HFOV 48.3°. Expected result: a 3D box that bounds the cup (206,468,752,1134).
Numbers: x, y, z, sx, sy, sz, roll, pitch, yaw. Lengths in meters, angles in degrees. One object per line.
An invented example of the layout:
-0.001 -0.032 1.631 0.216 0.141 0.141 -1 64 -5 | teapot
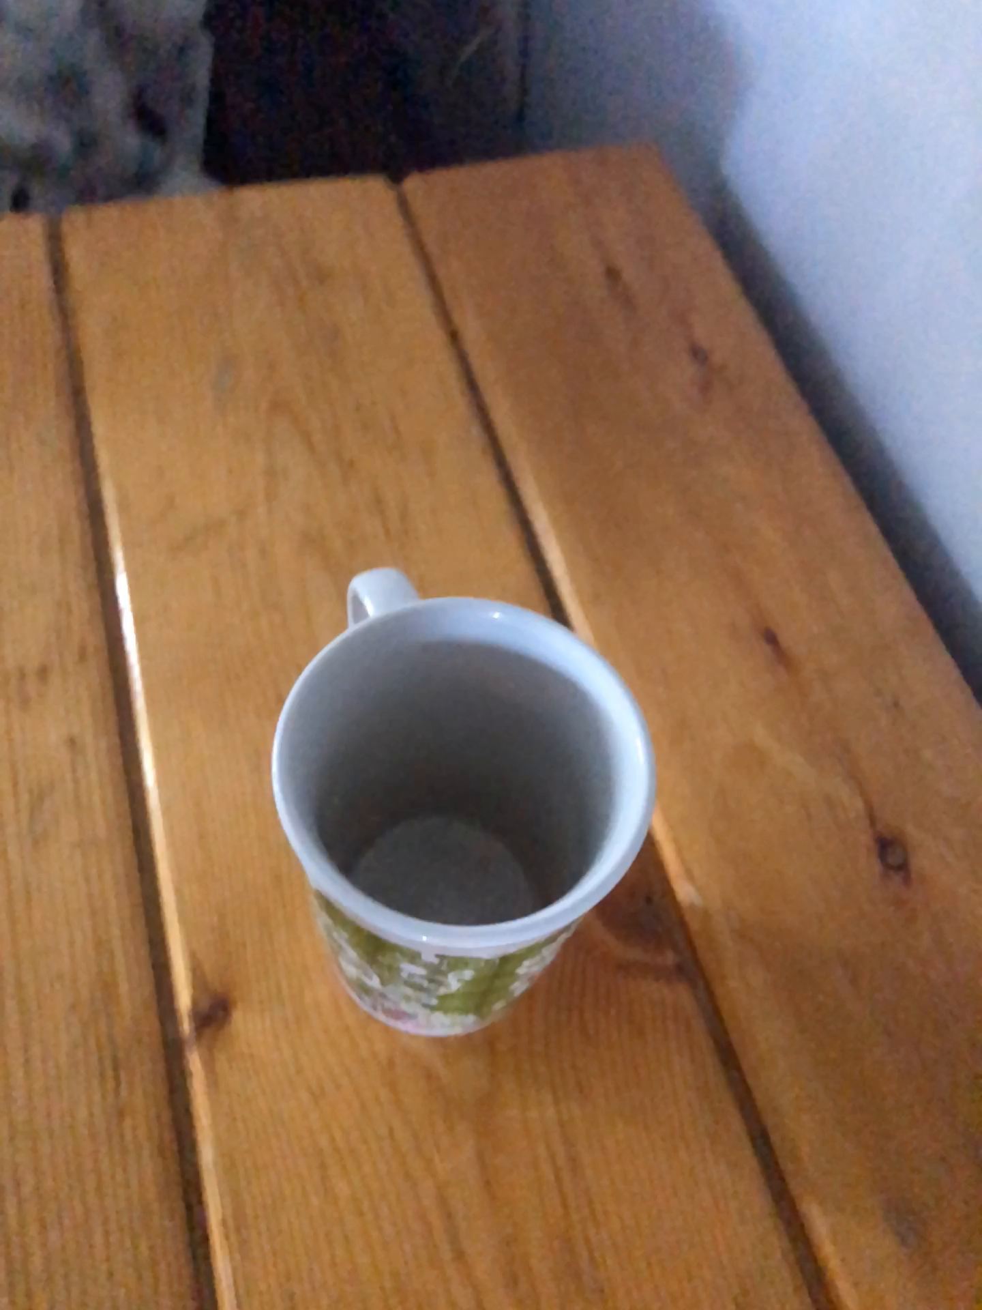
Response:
-0.012 0.044 0.312 0.090 0.120 0.130 -17 61 -14 | cup
